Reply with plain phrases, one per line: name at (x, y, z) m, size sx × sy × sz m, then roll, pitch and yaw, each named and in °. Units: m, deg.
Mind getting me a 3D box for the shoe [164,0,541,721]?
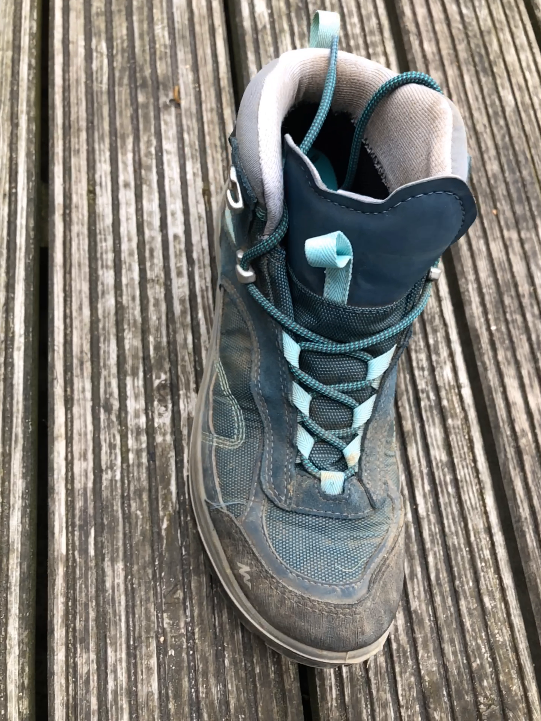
shoe at (0.018, -0.008, 0.271) m, size 0.120 × 0.120 × 0.281 m, roll -1°, pitch 72°, yaw -12°
